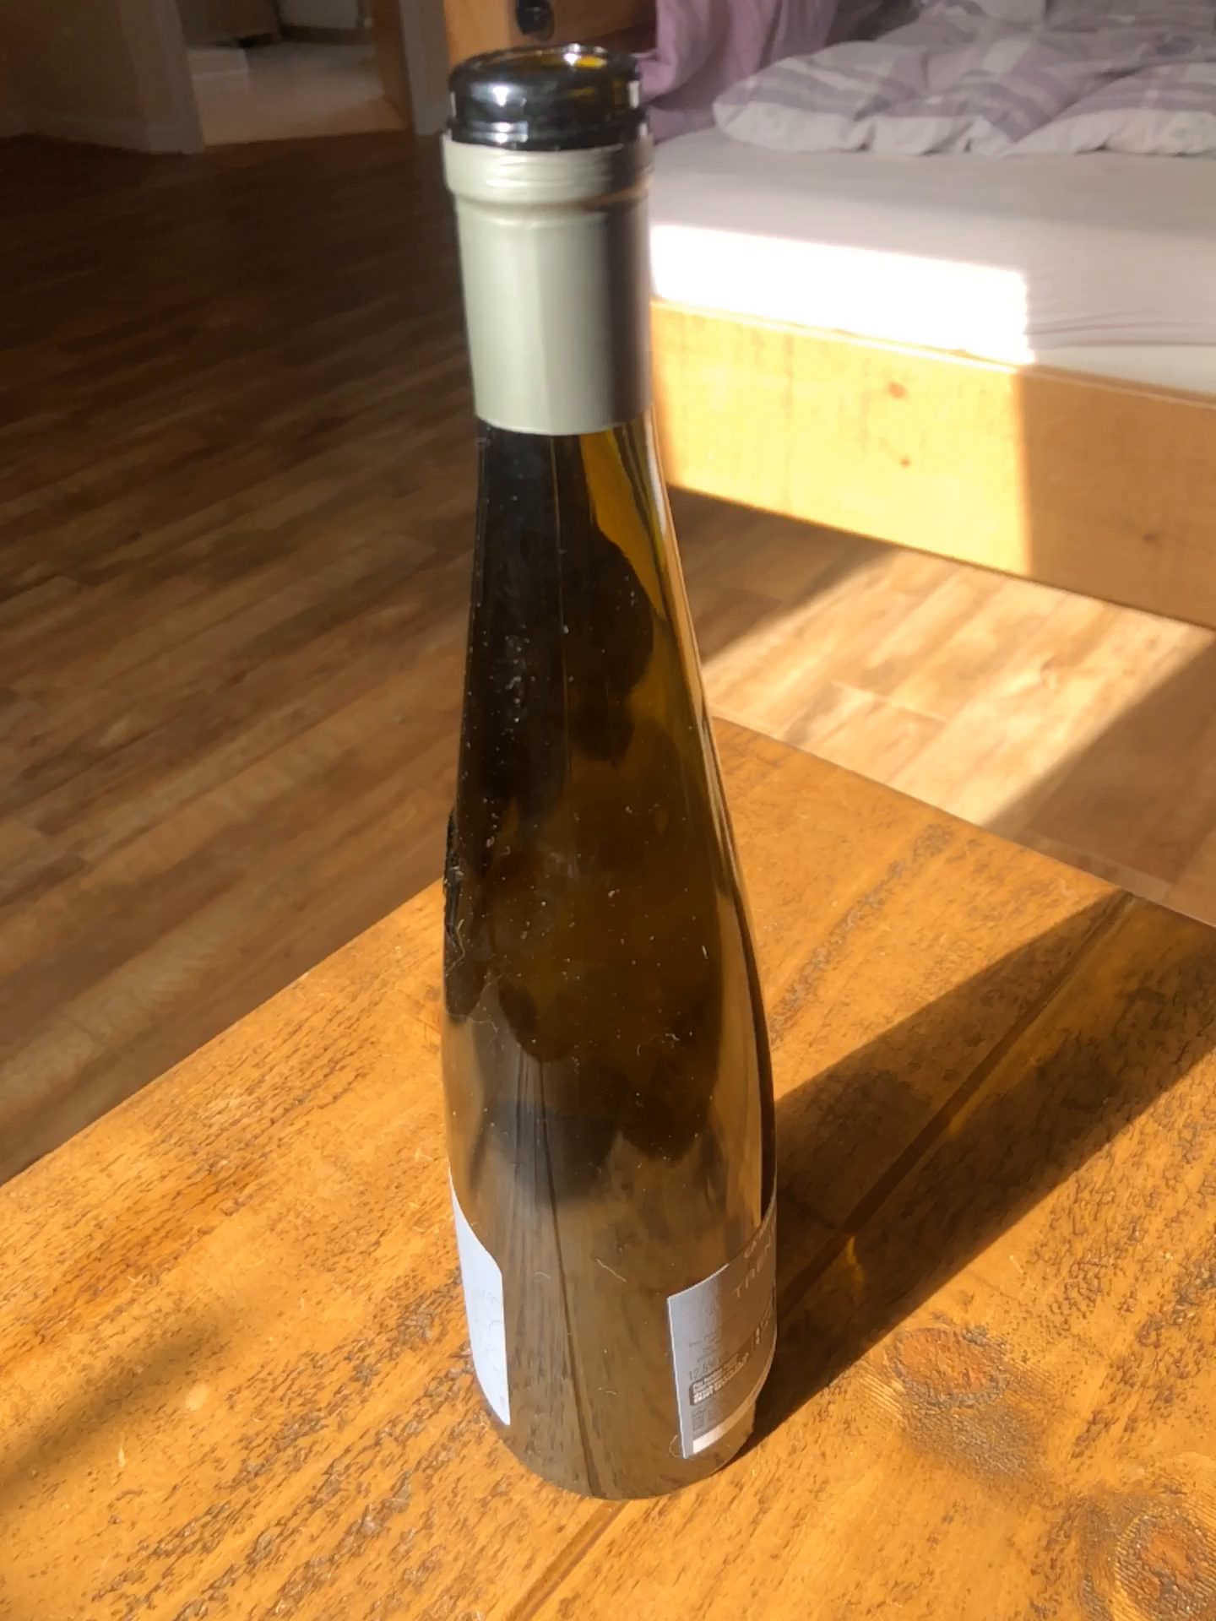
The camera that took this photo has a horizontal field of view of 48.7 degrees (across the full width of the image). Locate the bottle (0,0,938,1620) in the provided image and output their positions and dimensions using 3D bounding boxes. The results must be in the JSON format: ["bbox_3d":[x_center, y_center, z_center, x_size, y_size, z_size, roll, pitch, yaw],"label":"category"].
[{"bbox_3d":[-0.003,0.037,0.271,0.100,0.337,0.101,-2,37,2],"label":"bottle"}]
